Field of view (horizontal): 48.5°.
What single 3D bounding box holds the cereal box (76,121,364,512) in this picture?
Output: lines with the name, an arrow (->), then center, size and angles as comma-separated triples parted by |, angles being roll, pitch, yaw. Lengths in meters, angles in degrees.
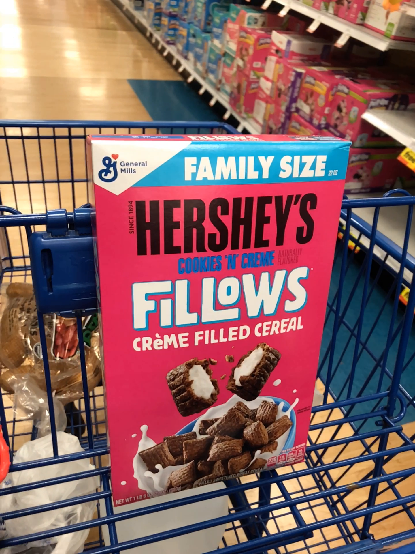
cereal box -> 0.006, 0.032, 0.382 | 0.200, 0.300, 0.060 | -5, 20, -18
